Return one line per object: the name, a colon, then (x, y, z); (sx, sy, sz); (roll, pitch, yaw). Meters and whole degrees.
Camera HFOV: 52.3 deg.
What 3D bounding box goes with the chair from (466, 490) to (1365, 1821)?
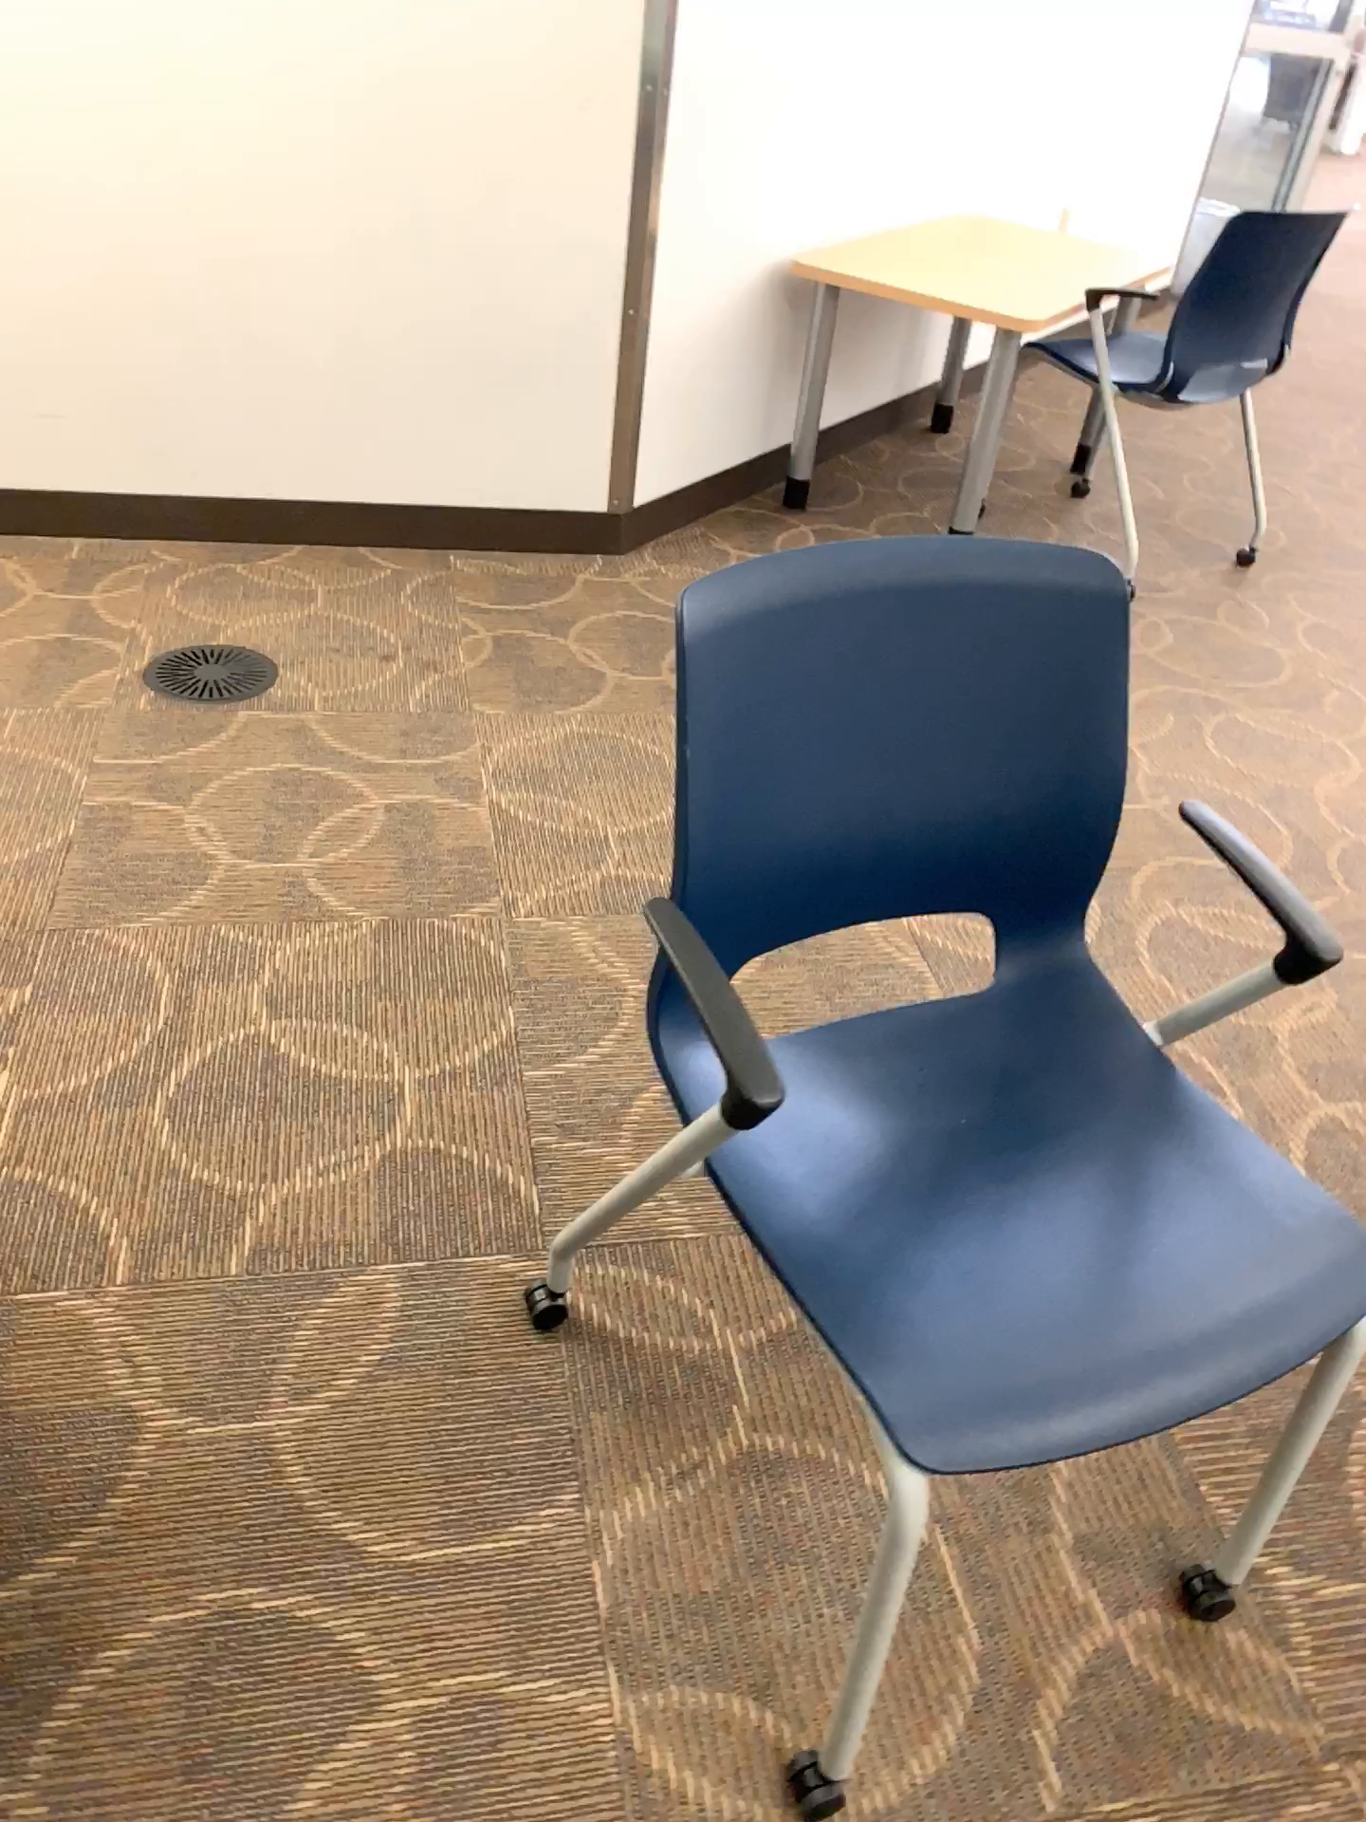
chair: (0.238, 0.153, 1.018); (0.621, 0.687, 0.612); (-10, 40, -23)
